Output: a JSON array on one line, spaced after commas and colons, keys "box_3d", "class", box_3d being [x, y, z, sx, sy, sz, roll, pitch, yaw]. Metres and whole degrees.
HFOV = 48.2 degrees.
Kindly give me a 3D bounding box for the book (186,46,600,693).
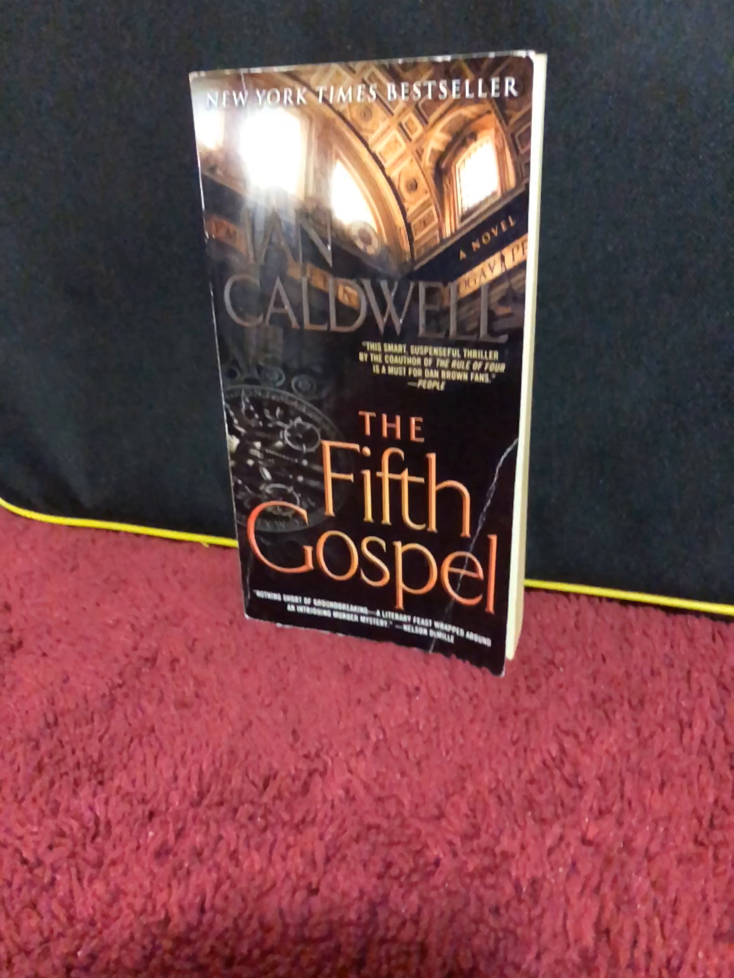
[{"box_3d": [0.009, -0.039, 0.294, 0.120, 0.199, 0.050, 10, 24, 26], "class": "book"}]
